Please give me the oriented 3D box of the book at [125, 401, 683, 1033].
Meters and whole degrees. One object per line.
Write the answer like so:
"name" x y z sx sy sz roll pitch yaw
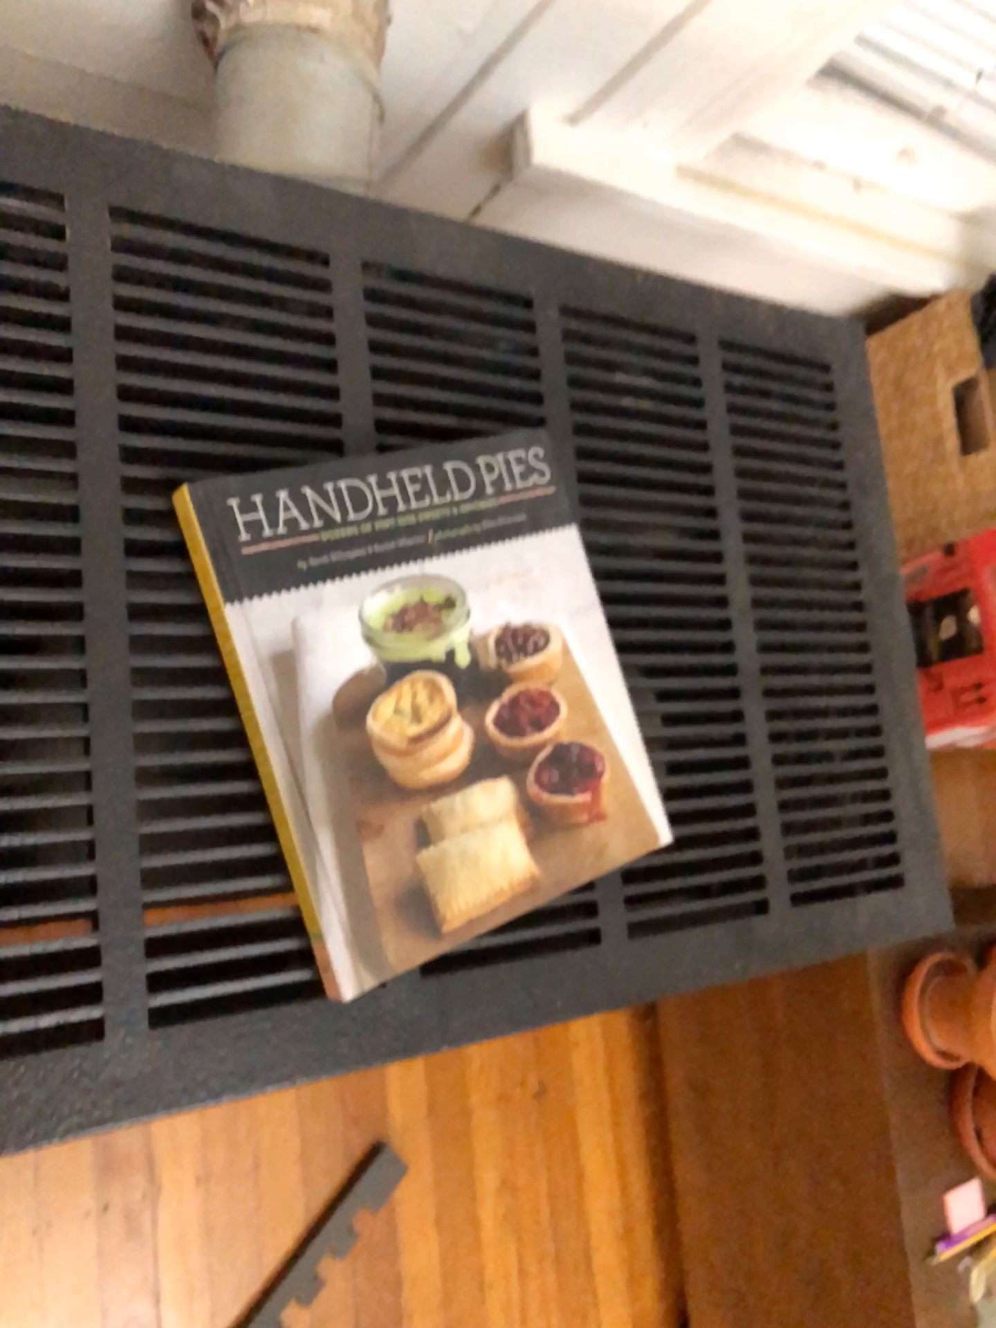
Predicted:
"book" -0.030 0.009 0.489 0.201 0.020 0.230 -18 90 -34
